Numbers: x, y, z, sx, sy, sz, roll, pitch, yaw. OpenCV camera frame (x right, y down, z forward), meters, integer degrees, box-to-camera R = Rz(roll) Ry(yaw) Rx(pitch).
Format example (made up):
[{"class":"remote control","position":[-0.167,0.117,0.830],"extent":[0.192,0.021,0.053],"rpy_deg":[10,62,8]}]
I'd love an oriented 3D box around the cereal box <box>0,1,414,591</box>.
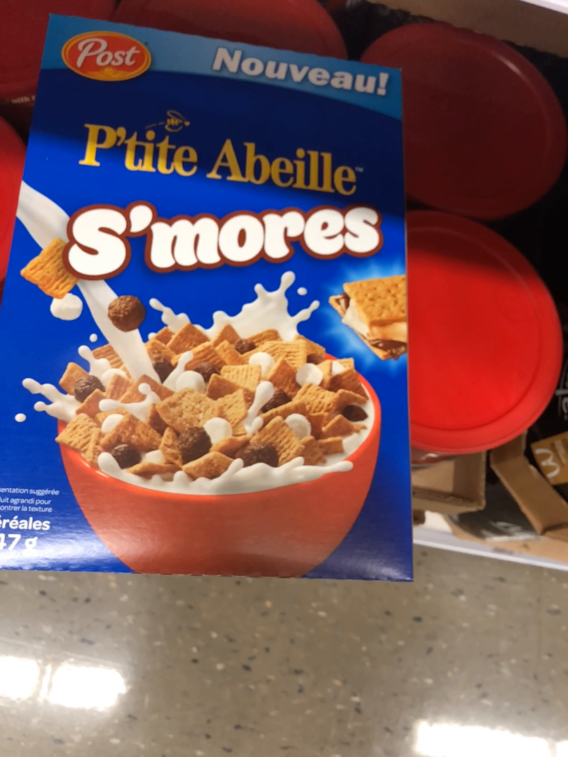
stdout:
[{"class":"cereal box","position":[-0.039,-0.044,0.340],"extent":[0.200,0.060,0.290],"rpy_deg":[5,74,-8]}]
